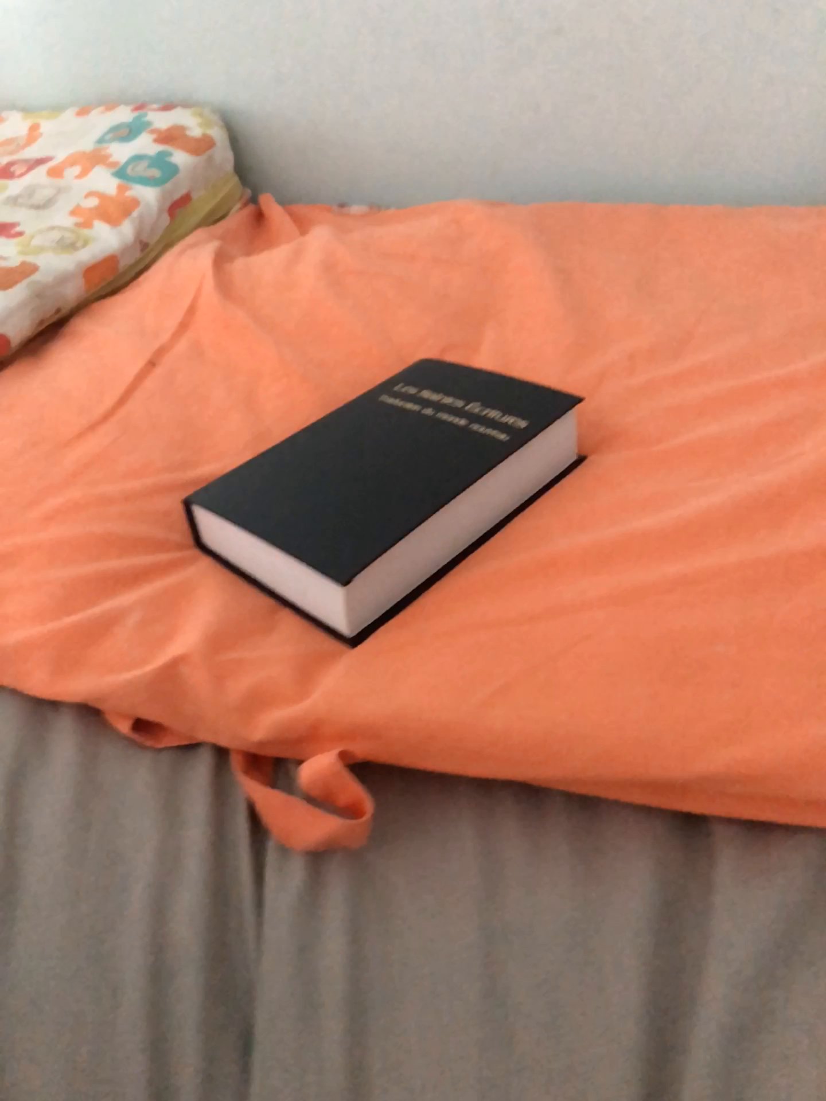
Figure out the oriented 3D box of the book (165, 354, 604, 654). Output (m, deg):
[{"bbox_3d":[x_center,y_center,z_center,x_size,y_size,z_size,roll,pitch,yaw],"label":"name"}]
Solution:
[{"bbox_3d":[-0.012,-0.035,0.445,0.126,0.030,0.174,24,50,41],"label":"book"}]
